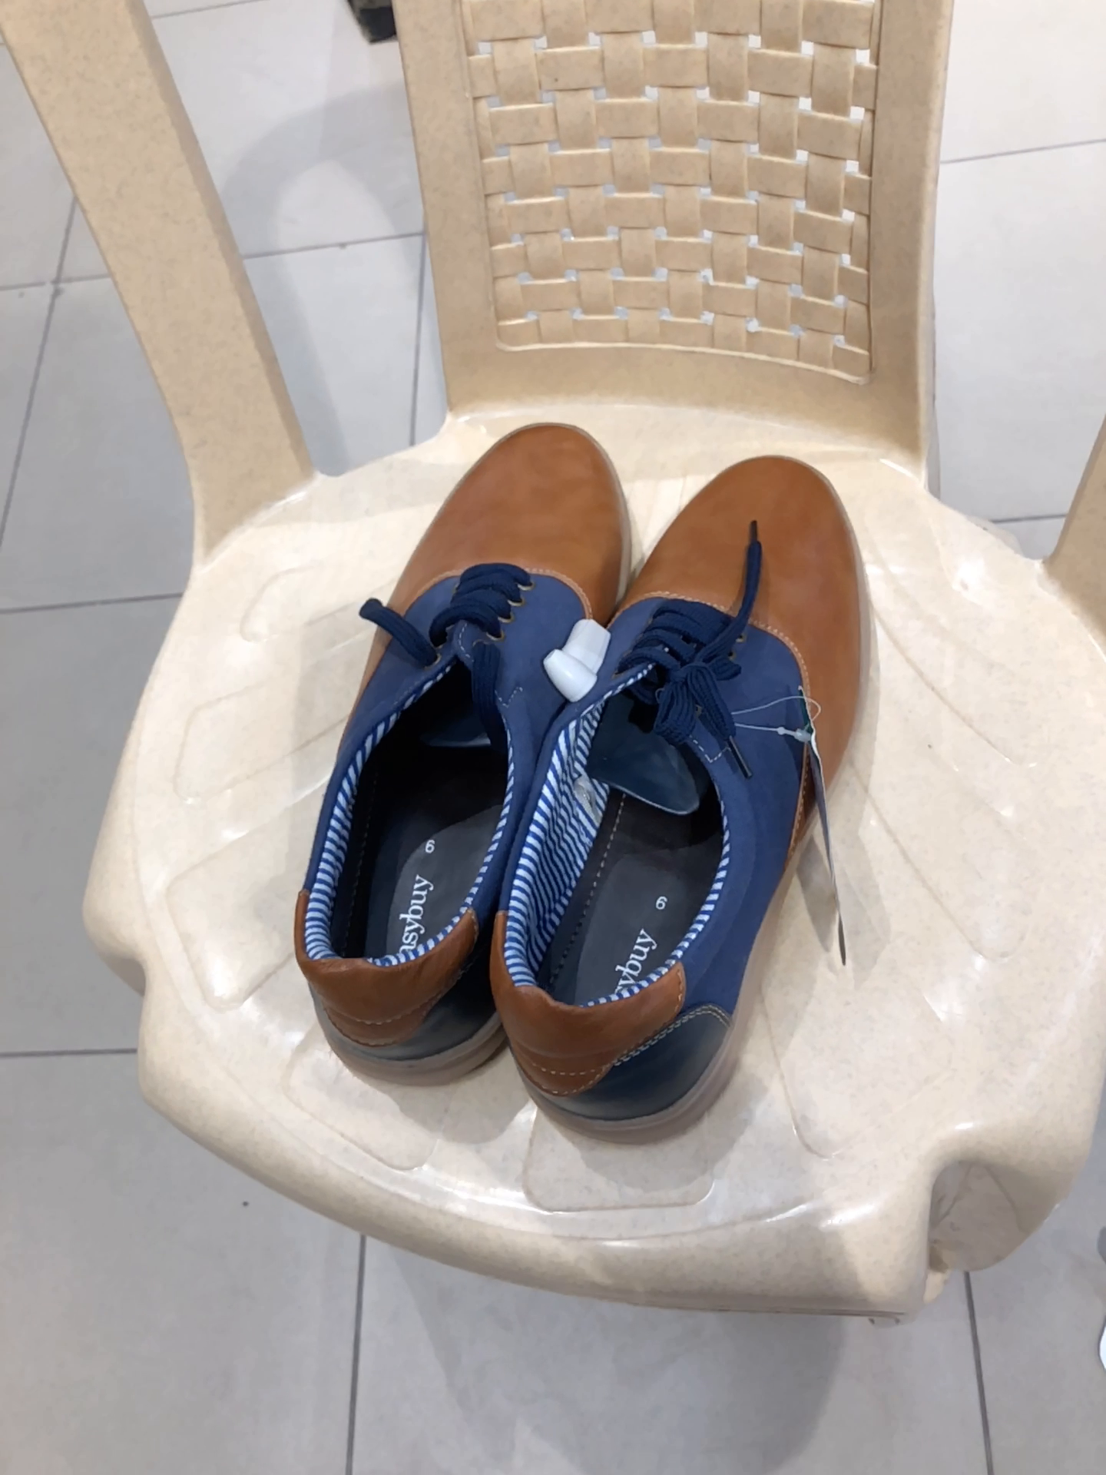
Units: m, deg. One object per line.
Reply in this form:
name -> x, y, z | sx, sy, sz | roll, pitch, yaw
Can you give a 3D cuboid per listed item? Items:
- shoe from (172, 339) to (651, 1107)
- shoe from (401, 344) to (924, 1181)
shoe -> -0.035, -0.007, 0.453 | 0.103, 0.113, 0.254 | 4, 67, 13
shoe -> 0.051, 0.008, 0.428 | 0.103, 0.120, 0.252 | 11, 69, 16
